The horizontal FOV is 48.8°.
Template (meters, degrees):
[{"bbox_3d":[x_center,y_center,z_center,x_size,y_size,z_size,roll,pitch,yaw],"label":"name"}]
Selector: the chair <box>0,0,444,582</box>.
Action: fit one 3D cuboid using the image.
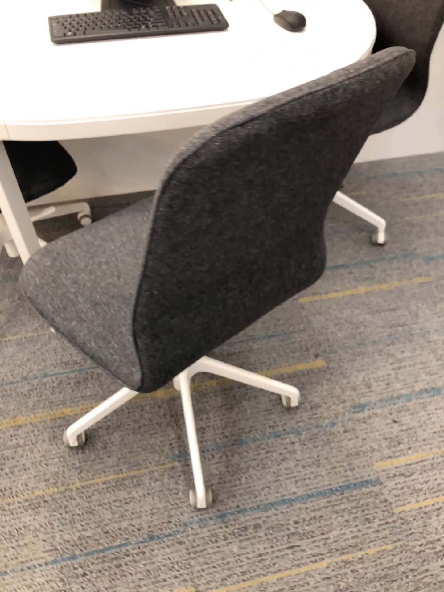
[{"bbox_3d":[-0.125,-0.037,0.988,0.631,0.994,0.633,-29,56,-24],"label":"chair"}]
